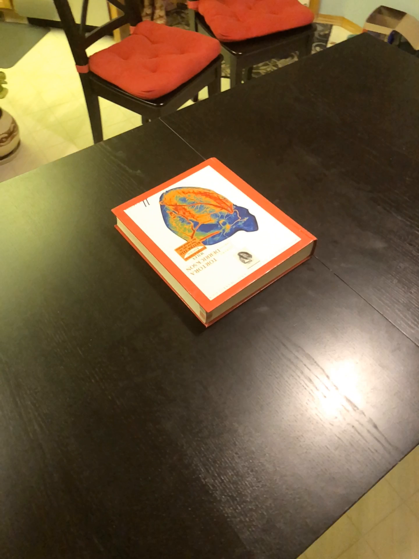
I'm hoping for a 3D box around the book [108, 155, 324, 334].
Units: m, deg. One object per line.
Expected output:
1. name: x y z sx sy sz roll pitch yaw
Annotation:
1. book: 0.006 -0.081 0.827 0.250 0.050 0.291 -32 59 -22
